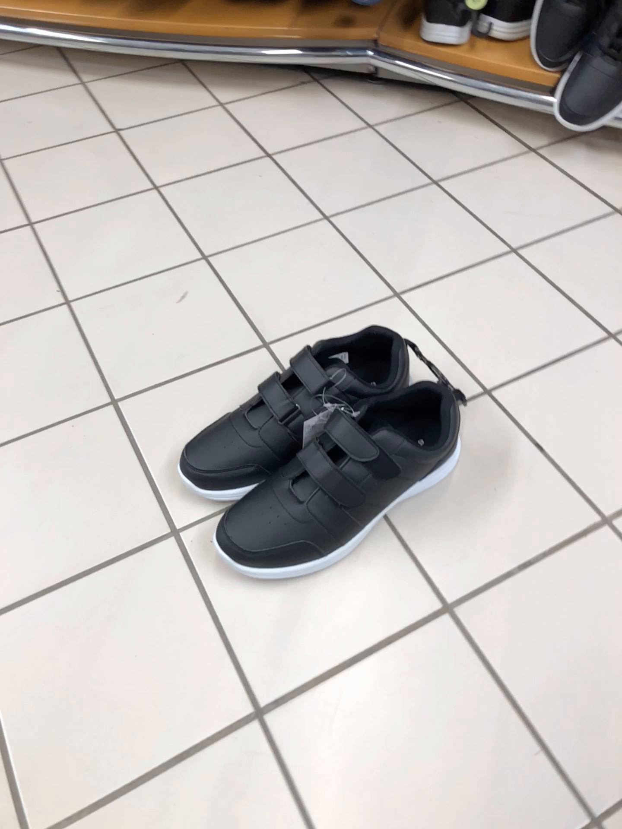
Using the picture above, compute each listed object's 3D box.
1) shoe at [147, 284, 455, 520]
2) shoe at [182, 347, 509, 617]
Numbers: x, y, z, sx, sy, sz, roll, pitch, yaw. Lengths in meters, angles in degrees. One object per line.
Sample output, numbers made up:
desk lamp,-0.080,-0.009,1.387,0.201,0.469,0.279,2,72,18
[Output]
shoe,-0.004,-0.020,0.740,0.311,0.100,0.100,-26,55,-20
shoe,0.040,0.059,0.686,0.311,0.100,0.100,-28,56,-21
